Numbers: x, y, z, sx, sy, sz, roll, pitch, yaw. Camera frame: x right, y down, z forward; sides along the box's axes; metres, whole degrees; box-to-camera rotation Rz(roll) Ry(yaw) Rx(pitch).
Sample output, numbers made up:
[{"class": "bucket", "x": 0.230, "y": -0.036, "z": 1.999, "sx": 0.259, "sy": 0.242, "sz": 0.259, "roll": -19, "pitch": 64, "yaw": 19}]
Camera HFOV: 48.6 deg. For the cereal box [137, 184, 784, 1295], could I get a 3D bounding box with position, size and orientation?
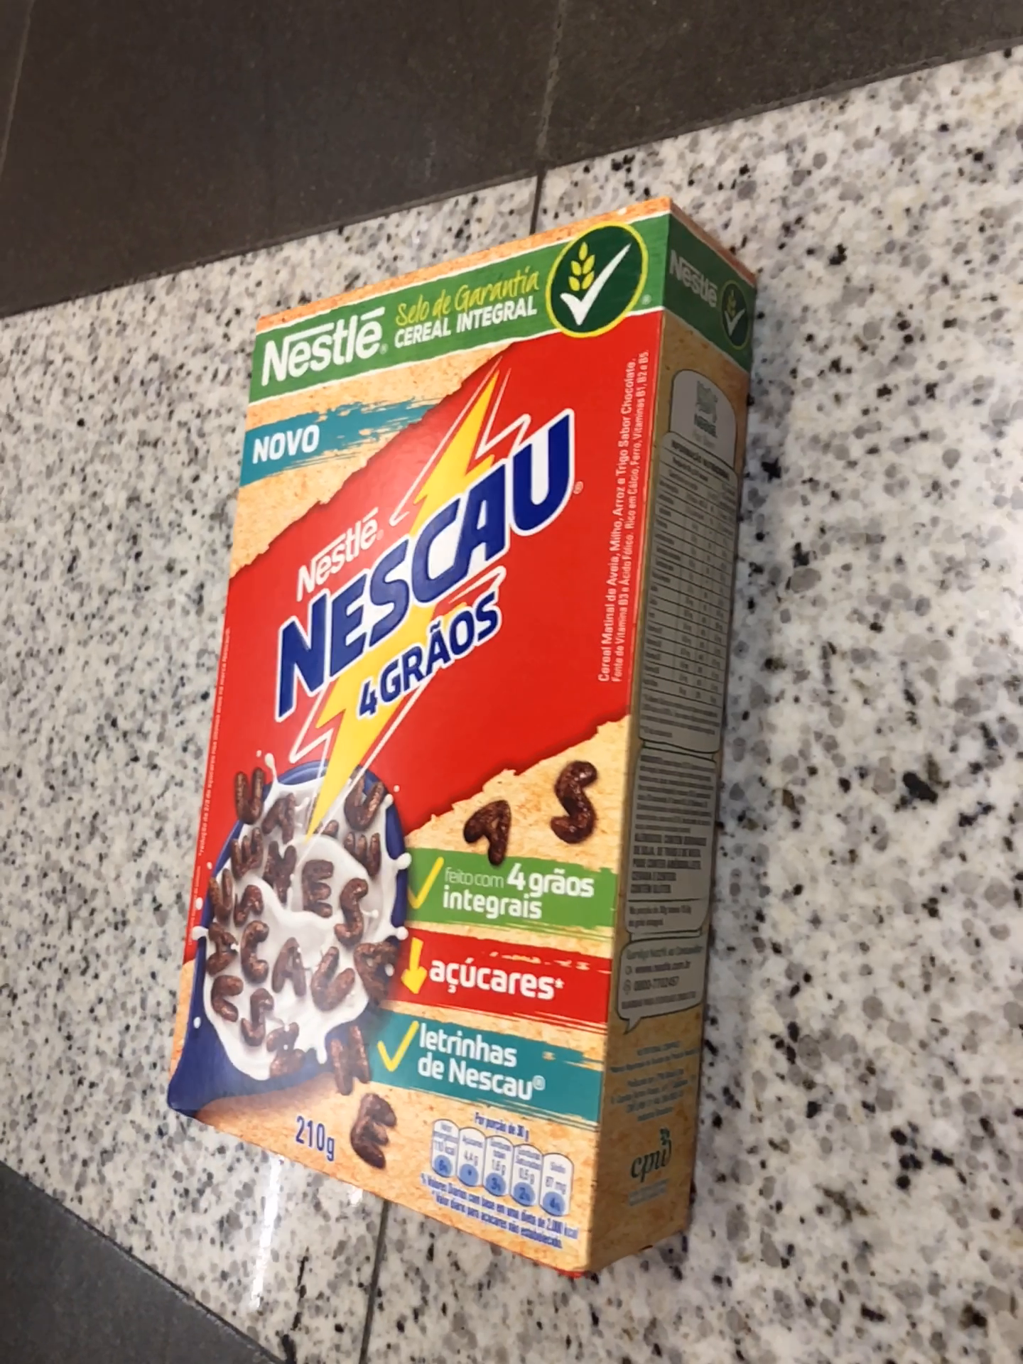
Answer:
[{"class": "cereal box", "x": -0.021, "y": 0.010, "z": 0.317, "sx": 0.171, "sy": 0.050, "sz": 0.240, "roll": 0, "pitch": 83, "yaw": 39}]
